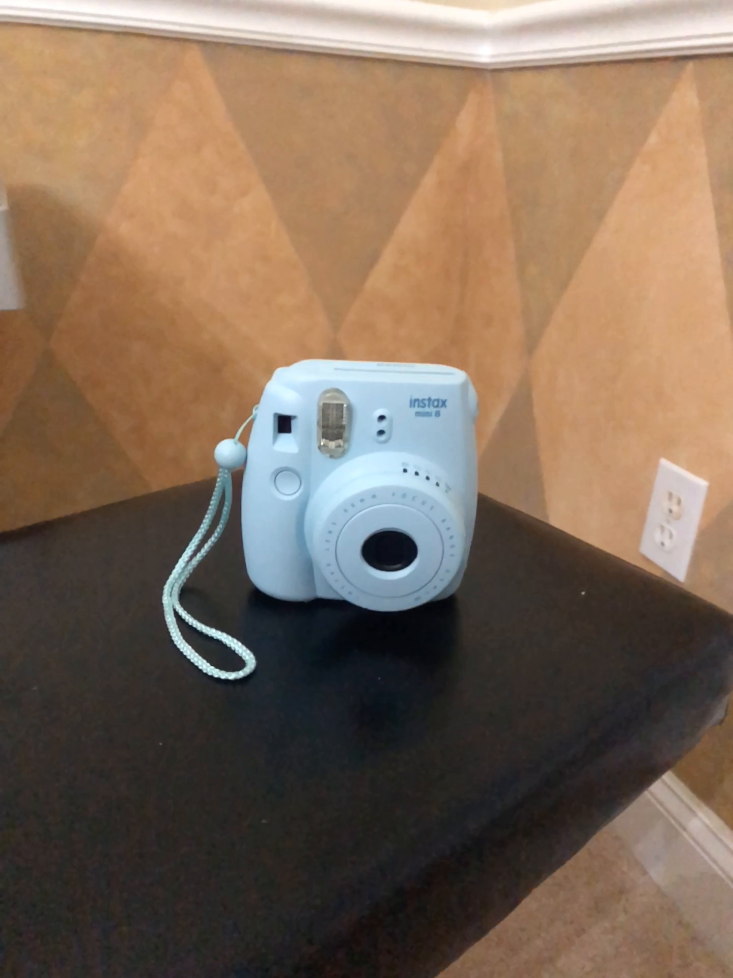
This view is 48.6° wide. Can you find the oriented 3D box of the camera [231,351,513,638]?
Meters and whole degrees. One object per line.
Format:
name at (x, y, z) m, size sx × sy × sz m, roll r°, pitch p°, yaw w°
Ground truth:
camera at (-0.002, 0.002, 0.397) m, size 0.120 × 0.118 × 0.068 m, roll 2°, pitch 24°, yaw -3°
